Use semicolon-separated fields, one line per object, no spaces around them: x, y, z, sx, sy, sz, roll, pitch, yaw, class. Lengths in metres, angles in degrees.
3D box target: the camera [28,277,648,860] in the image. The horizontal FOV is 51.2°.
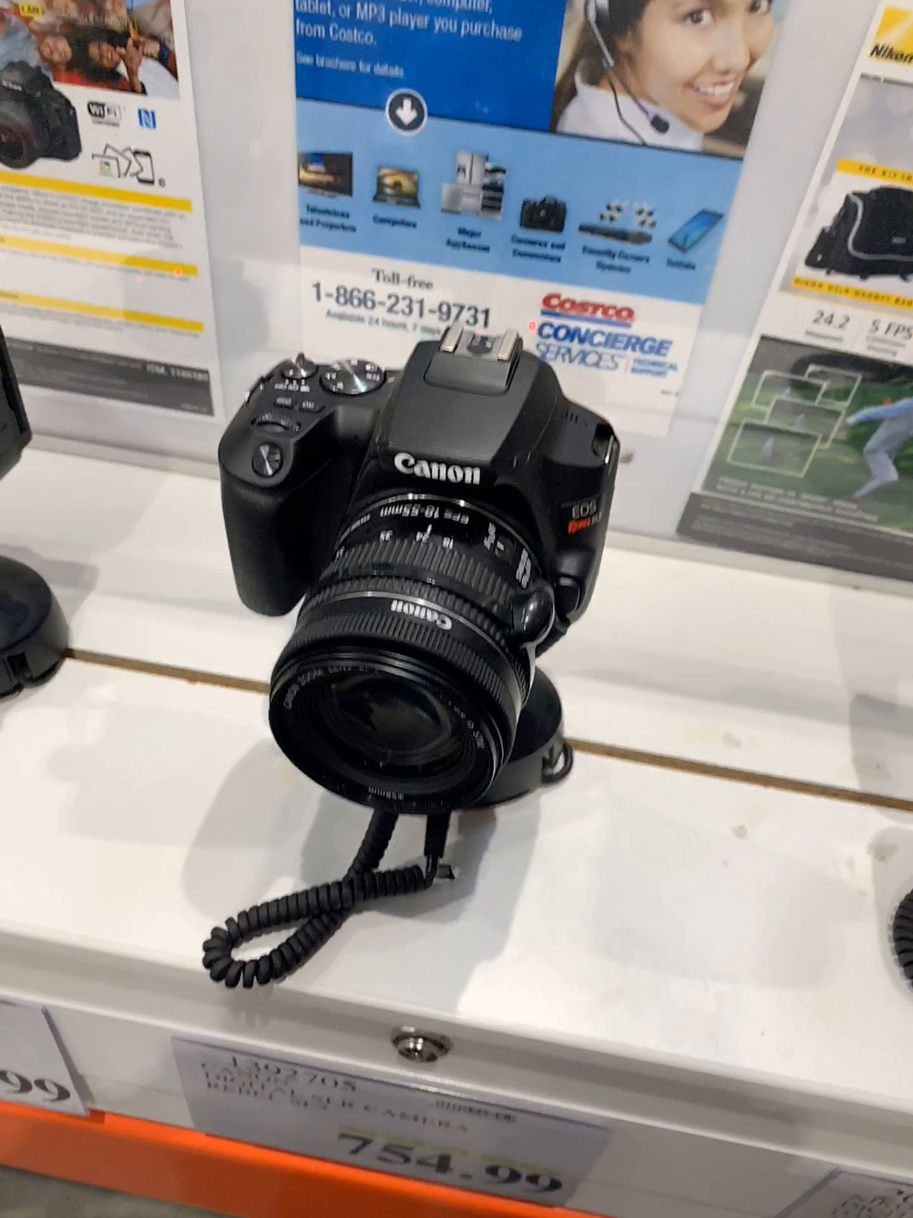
-0.019;-0.015;0.256;0.120;0.089;0.111;9;45;6;camera
